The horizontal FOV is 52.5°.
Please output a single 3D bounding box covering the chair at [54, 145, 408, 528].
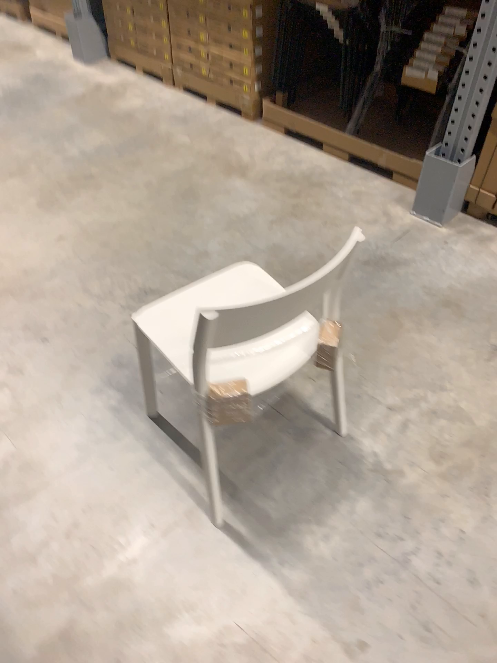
[{"bbox_3d":[-0.045,-0.002,1.269,0.520,0.618,0.531,-30,53,-26],"label":"chair"}]
